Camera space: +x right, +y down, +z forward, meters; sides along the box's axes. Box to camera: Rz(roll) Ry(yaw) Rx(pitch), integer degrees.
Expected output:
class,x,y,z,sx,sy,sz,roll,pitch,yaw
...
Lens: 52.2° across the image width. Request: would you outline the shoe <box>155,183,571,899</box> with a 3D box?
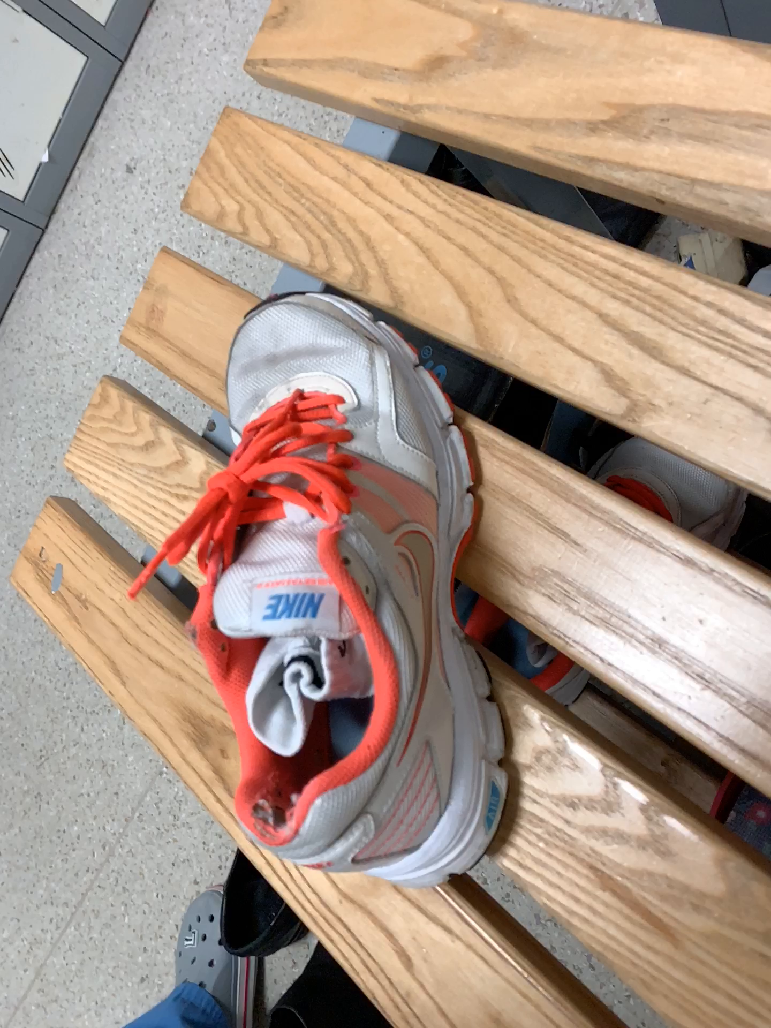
class,x,y,z,sx,sy,sz,roll,pitch,yaw
shoe,-0.016,0.014,0.318,0.110,0.079,0.242,-17,73,29
